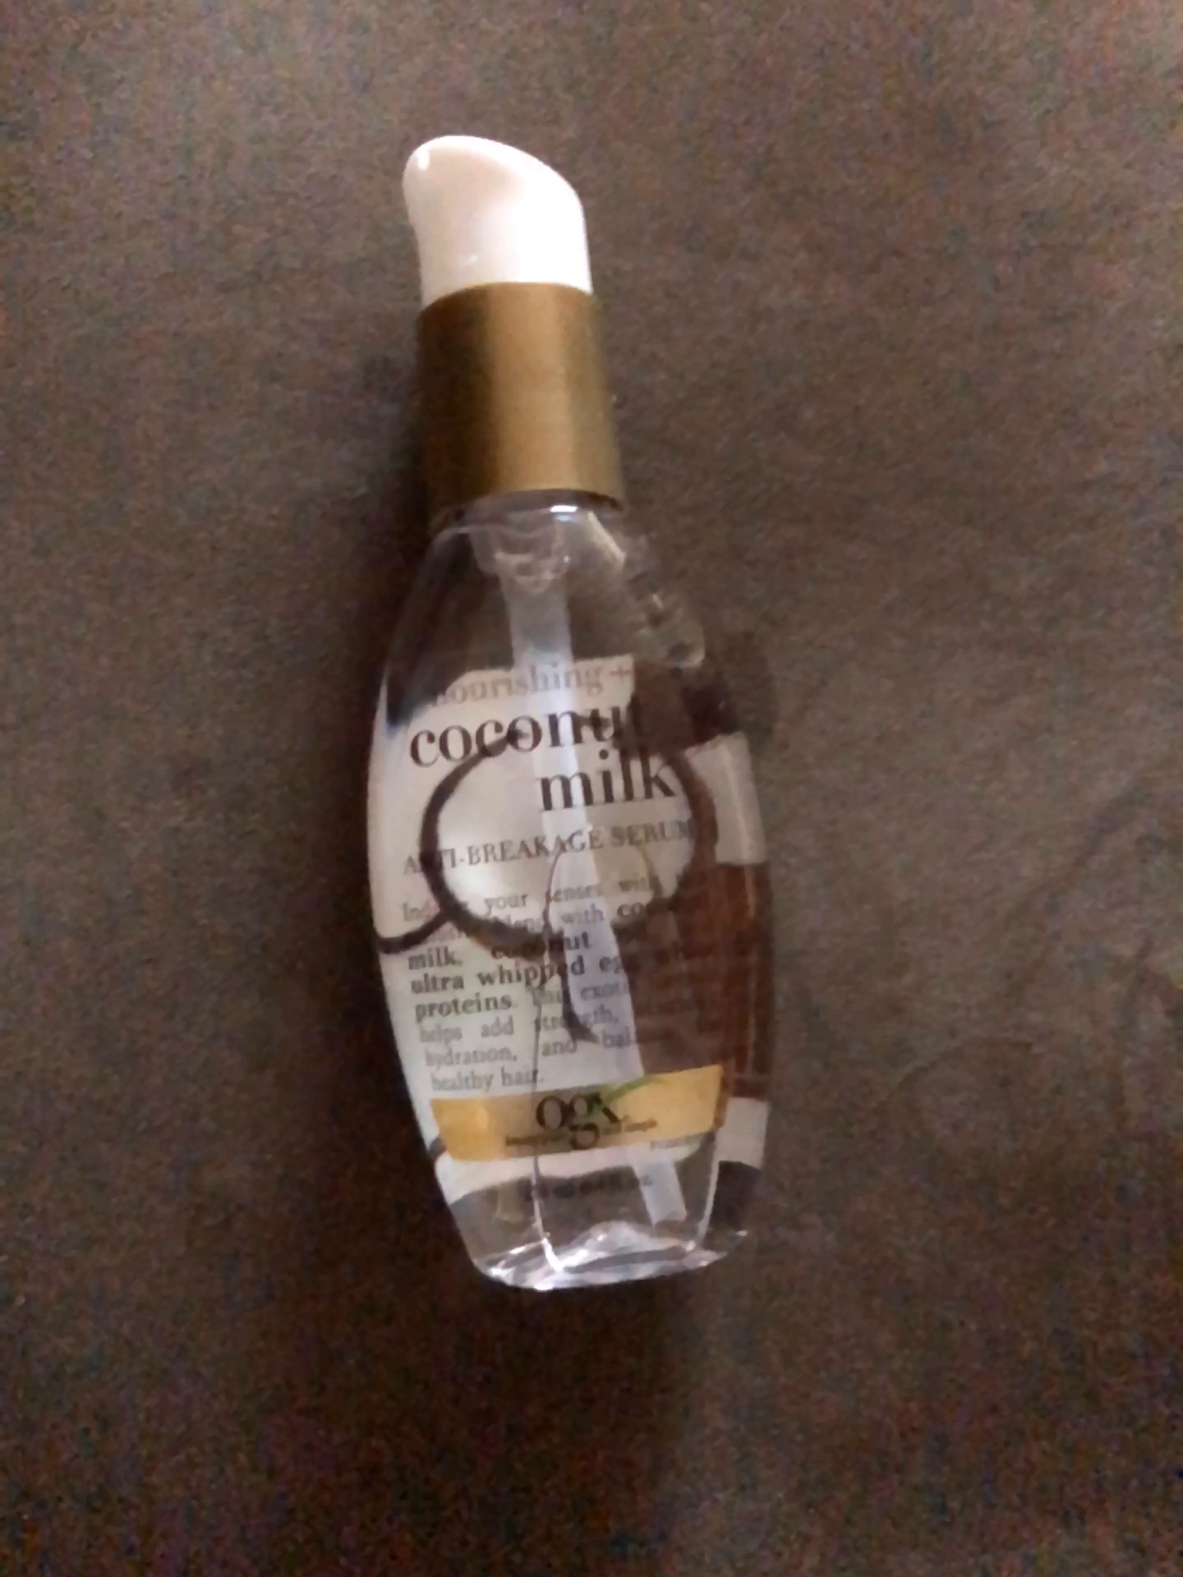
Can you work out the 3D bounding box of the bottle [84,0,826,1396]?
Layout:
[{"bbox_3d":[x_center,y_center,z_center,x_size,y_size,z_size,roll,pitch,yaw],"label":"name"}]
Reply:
[{"bbox_3d":[-0.018,-0.016,0.184,0.070,0.040,0.170,-7,88,-6],"label":"bottle"}]
